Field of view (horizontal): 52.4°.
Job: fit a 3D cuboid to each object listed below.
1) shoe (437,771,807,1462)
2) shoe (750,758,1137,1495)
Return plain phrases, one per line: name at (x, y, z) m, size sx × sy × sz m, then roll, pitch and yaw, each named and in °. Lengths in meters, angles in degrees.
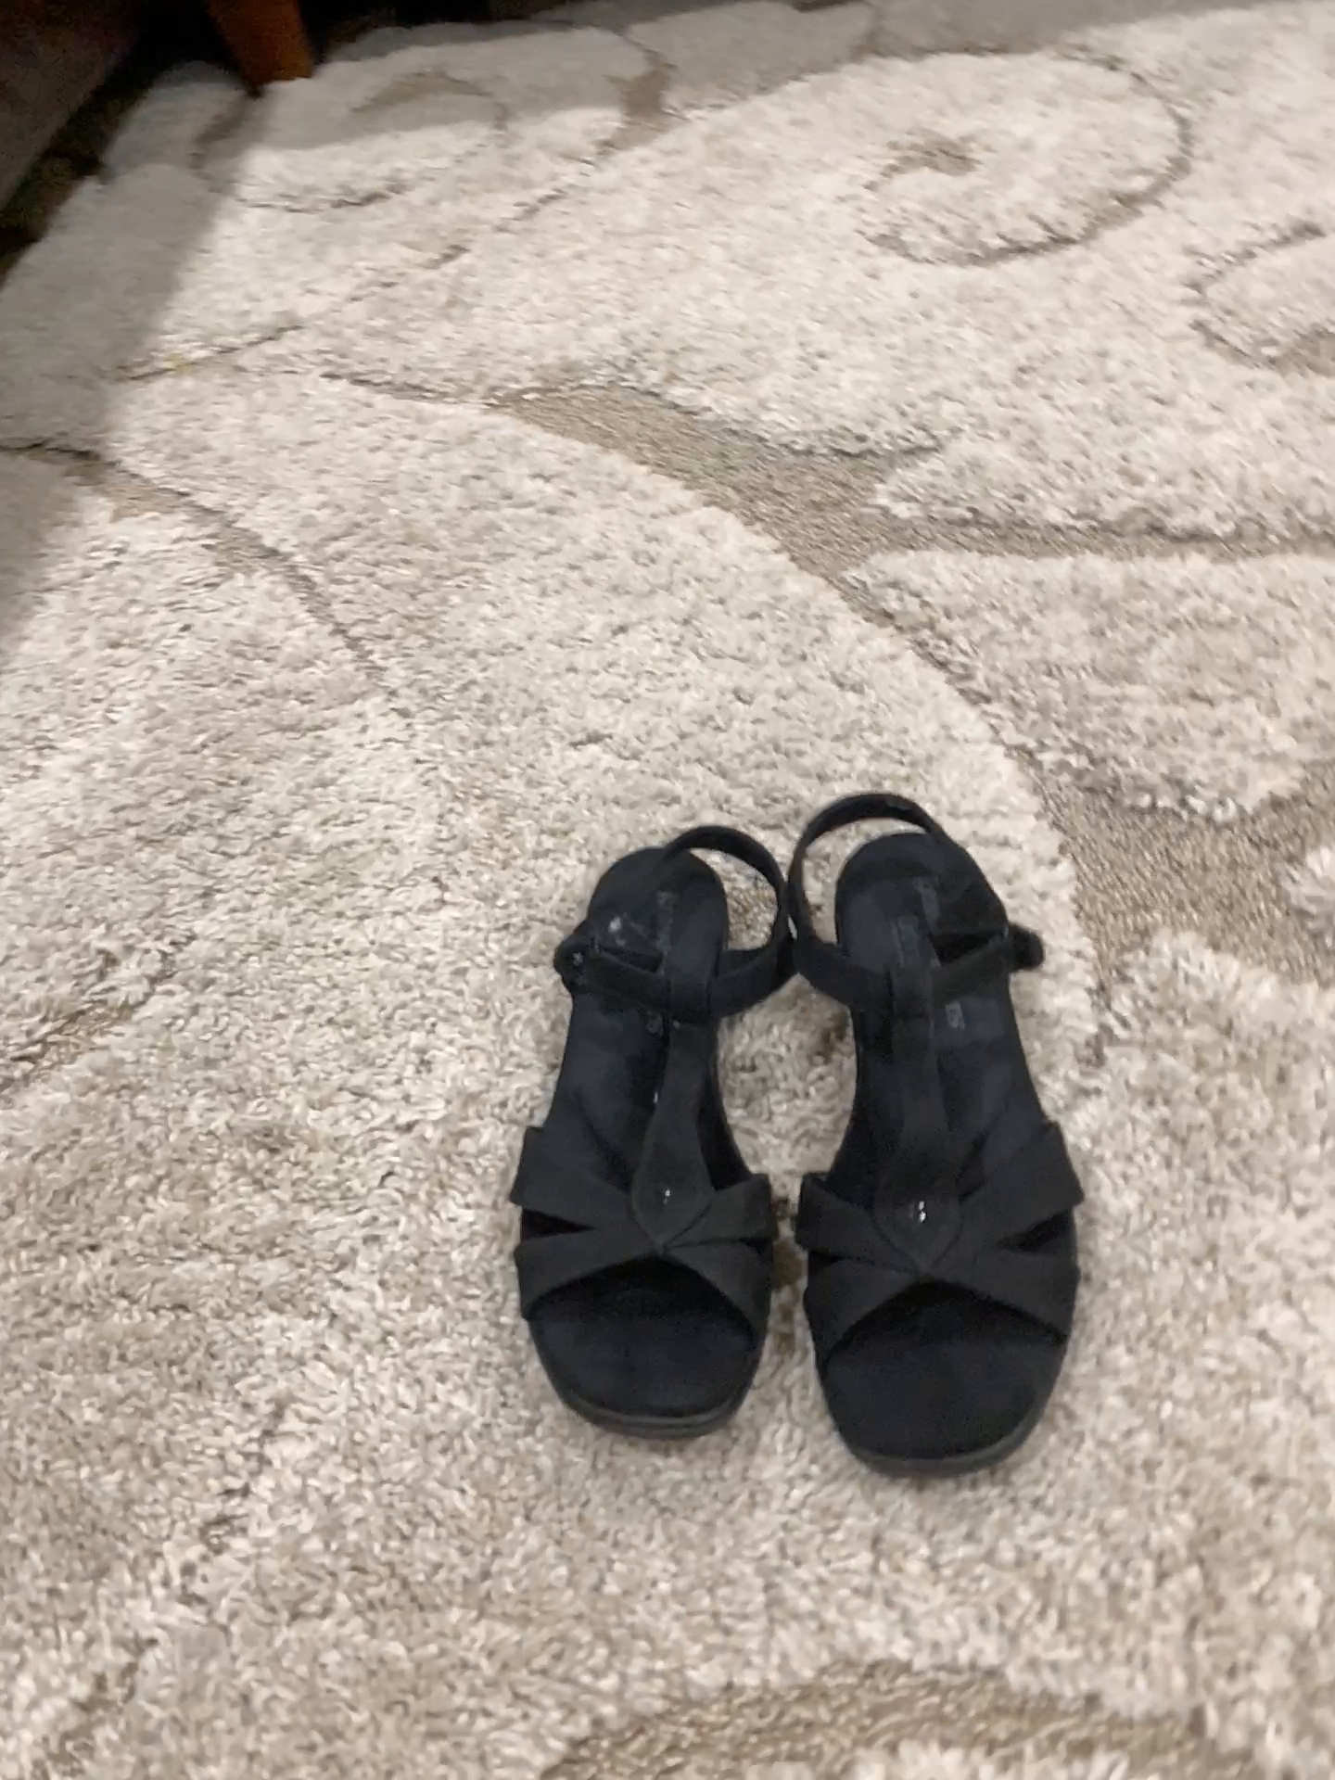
shoe at (-0.004, 0.068, 0.486) m, size 0.100 × 0.059 × 0.243 m, roll -2°, pitch 50°, yaw 10°
shoe at (0.085, 0.065, 0.457) m, size 0.100 × 0.059 × 0.243 m, roll -2°, pitch 50°, yaw 10°
